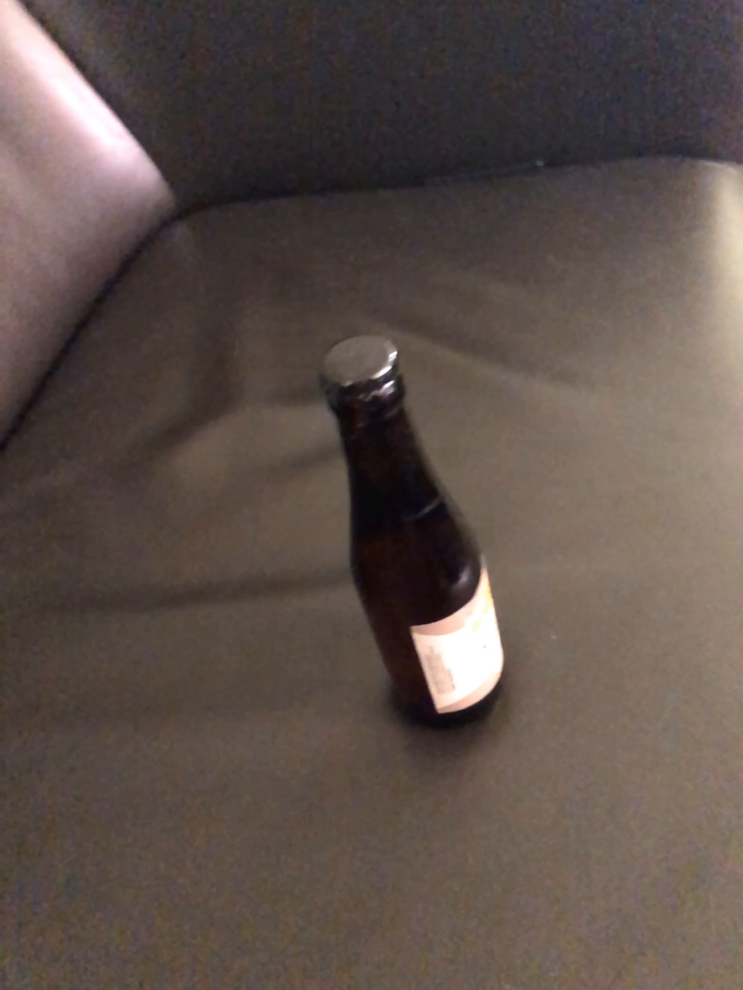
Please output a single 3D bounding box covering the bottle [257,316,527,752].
[{"bbox_3d":[0.022,0.030,0.342,0.060,0.209,0.060,-8,48,9],"label":"bottle"}]
